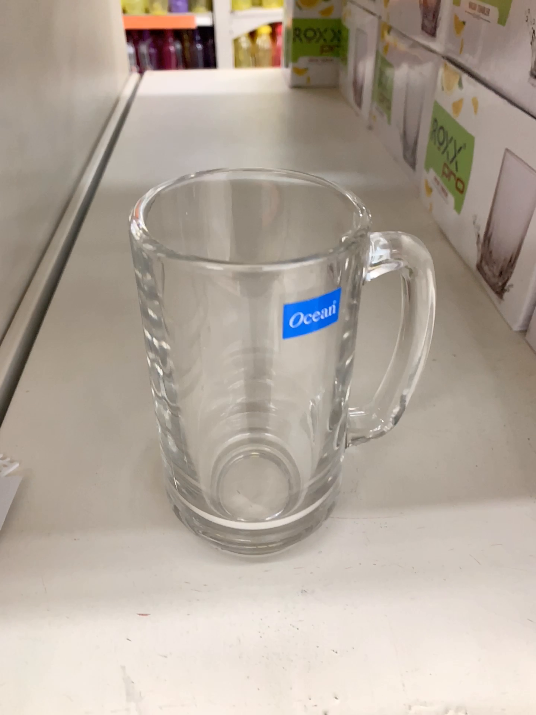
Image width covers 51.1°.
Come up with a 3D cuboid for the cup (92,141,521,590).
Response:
[{"bbox_3d":[0.008,0.001,0.213,0.111,0.127,0.076,-15,41,-17],"label":"cup"}]
